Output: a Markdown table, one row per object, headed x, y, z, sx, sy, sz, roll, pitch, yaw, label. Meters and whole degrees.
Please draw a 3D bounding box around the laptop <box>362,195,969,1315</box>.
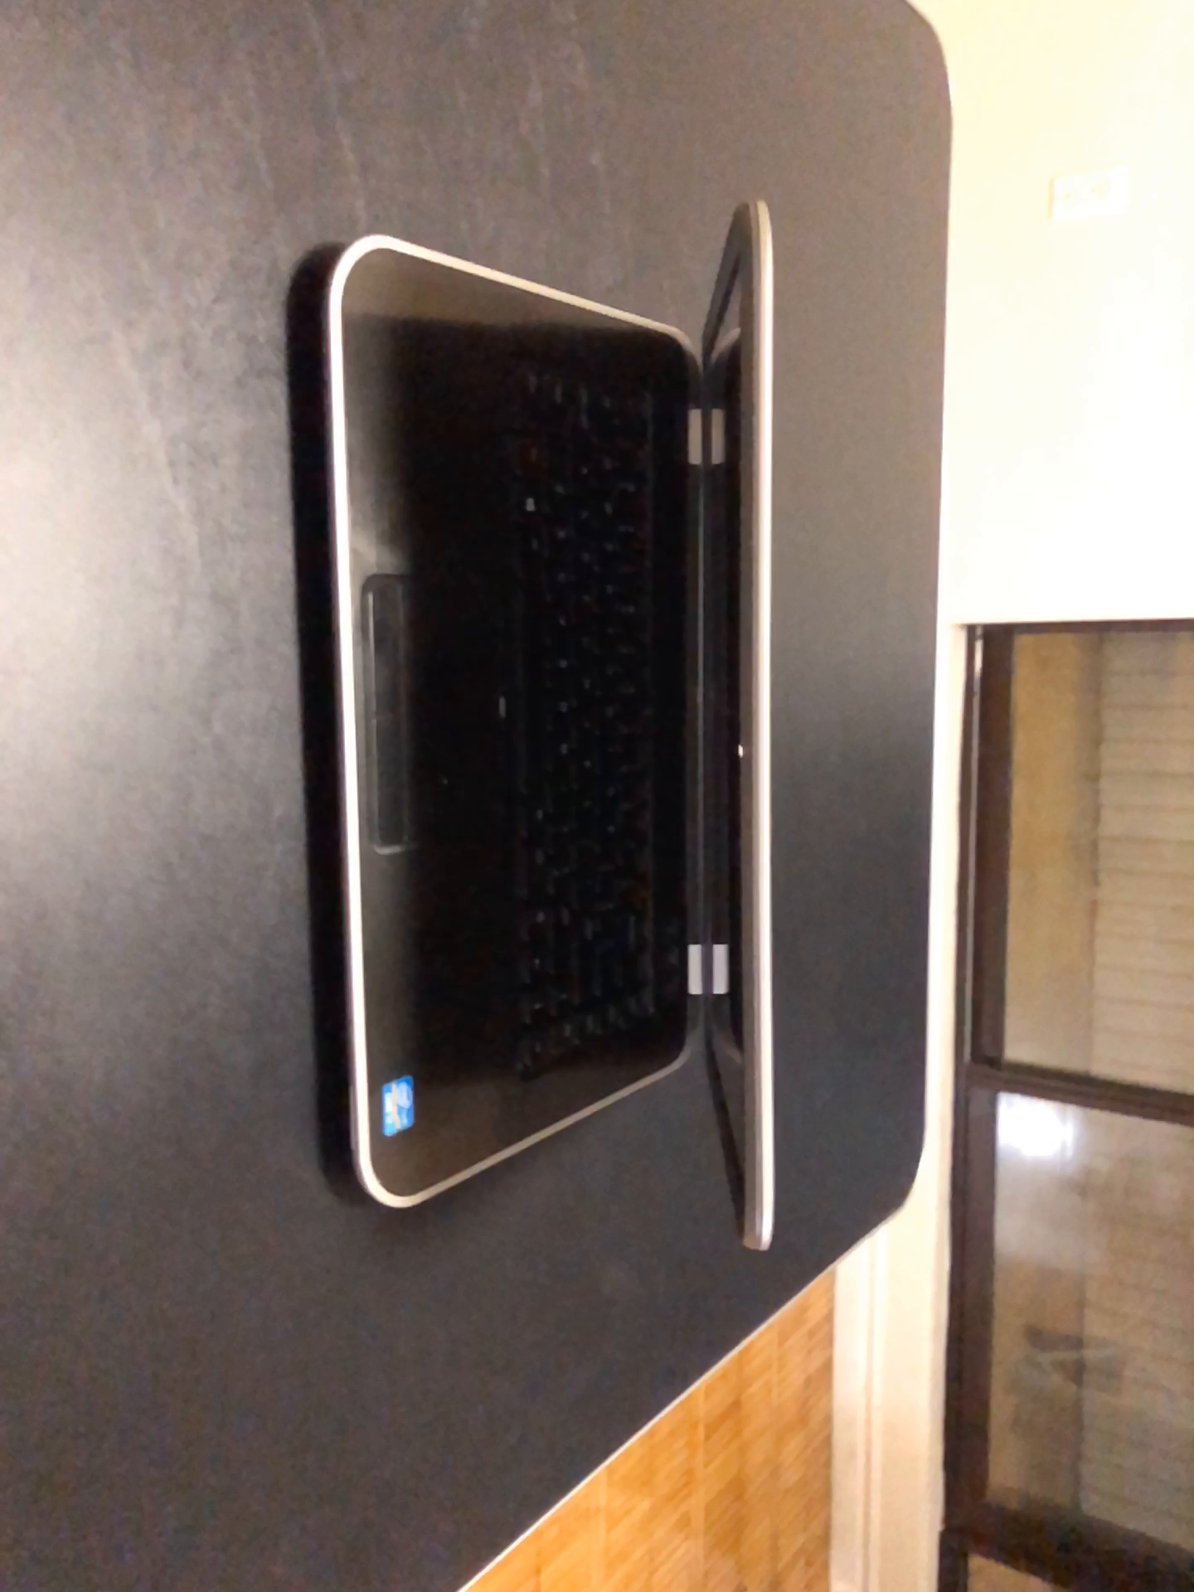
| x | y | z | sx | sy | sz | roll | pitch | yaw | label |
| --- | --- | --- | --- | --- | --- | --- | --- | --- | --- |
| 0.043 | -0.022 | 0.552 | 0.241 | 0.137 | 0.356 | -12 | 103 | -54 | laptop |
